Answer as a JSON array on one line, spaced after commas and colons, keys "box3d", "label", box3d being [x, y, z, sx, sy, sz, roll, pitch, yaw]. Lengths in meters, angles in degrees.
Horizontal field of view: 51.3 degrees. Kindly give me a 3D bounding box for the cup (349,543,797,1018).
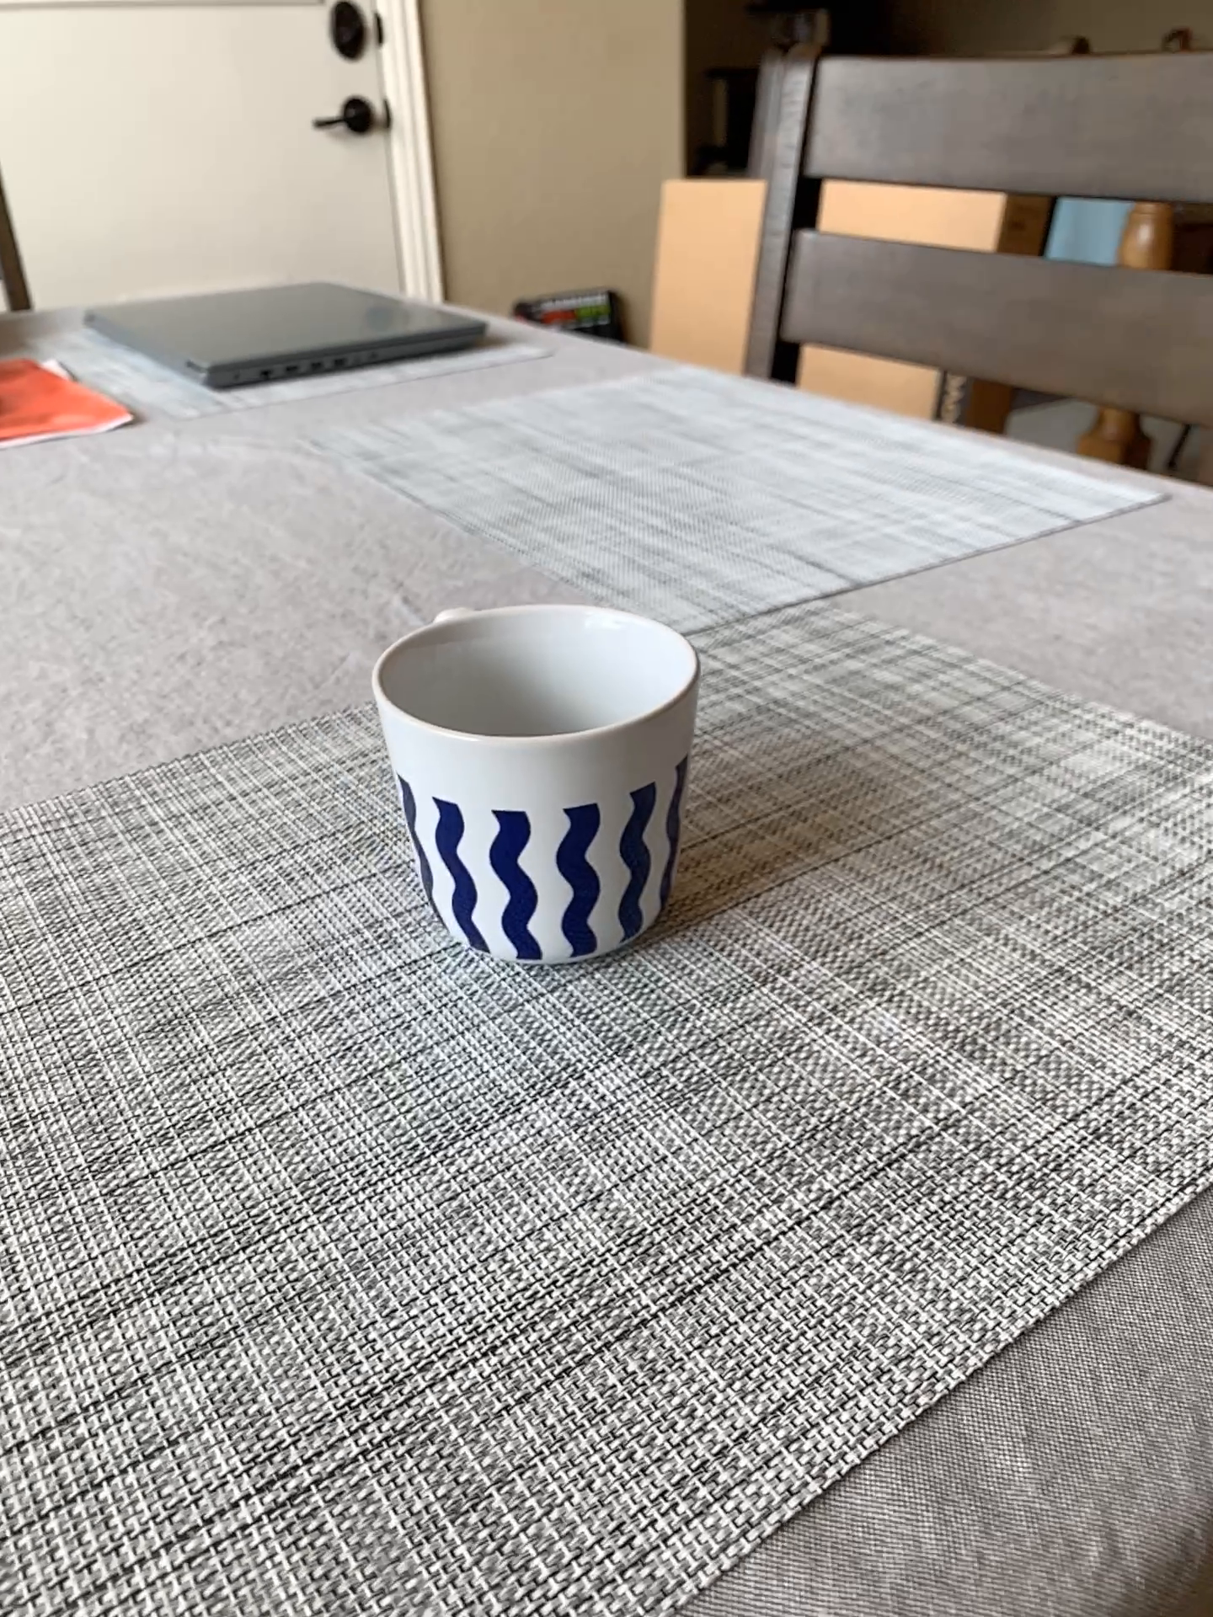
[{"box3d": [-0.014, -0.015, 0.345, 0.086, 0.072, 0.113, -11, 31, -15], "label": "cup"}]
